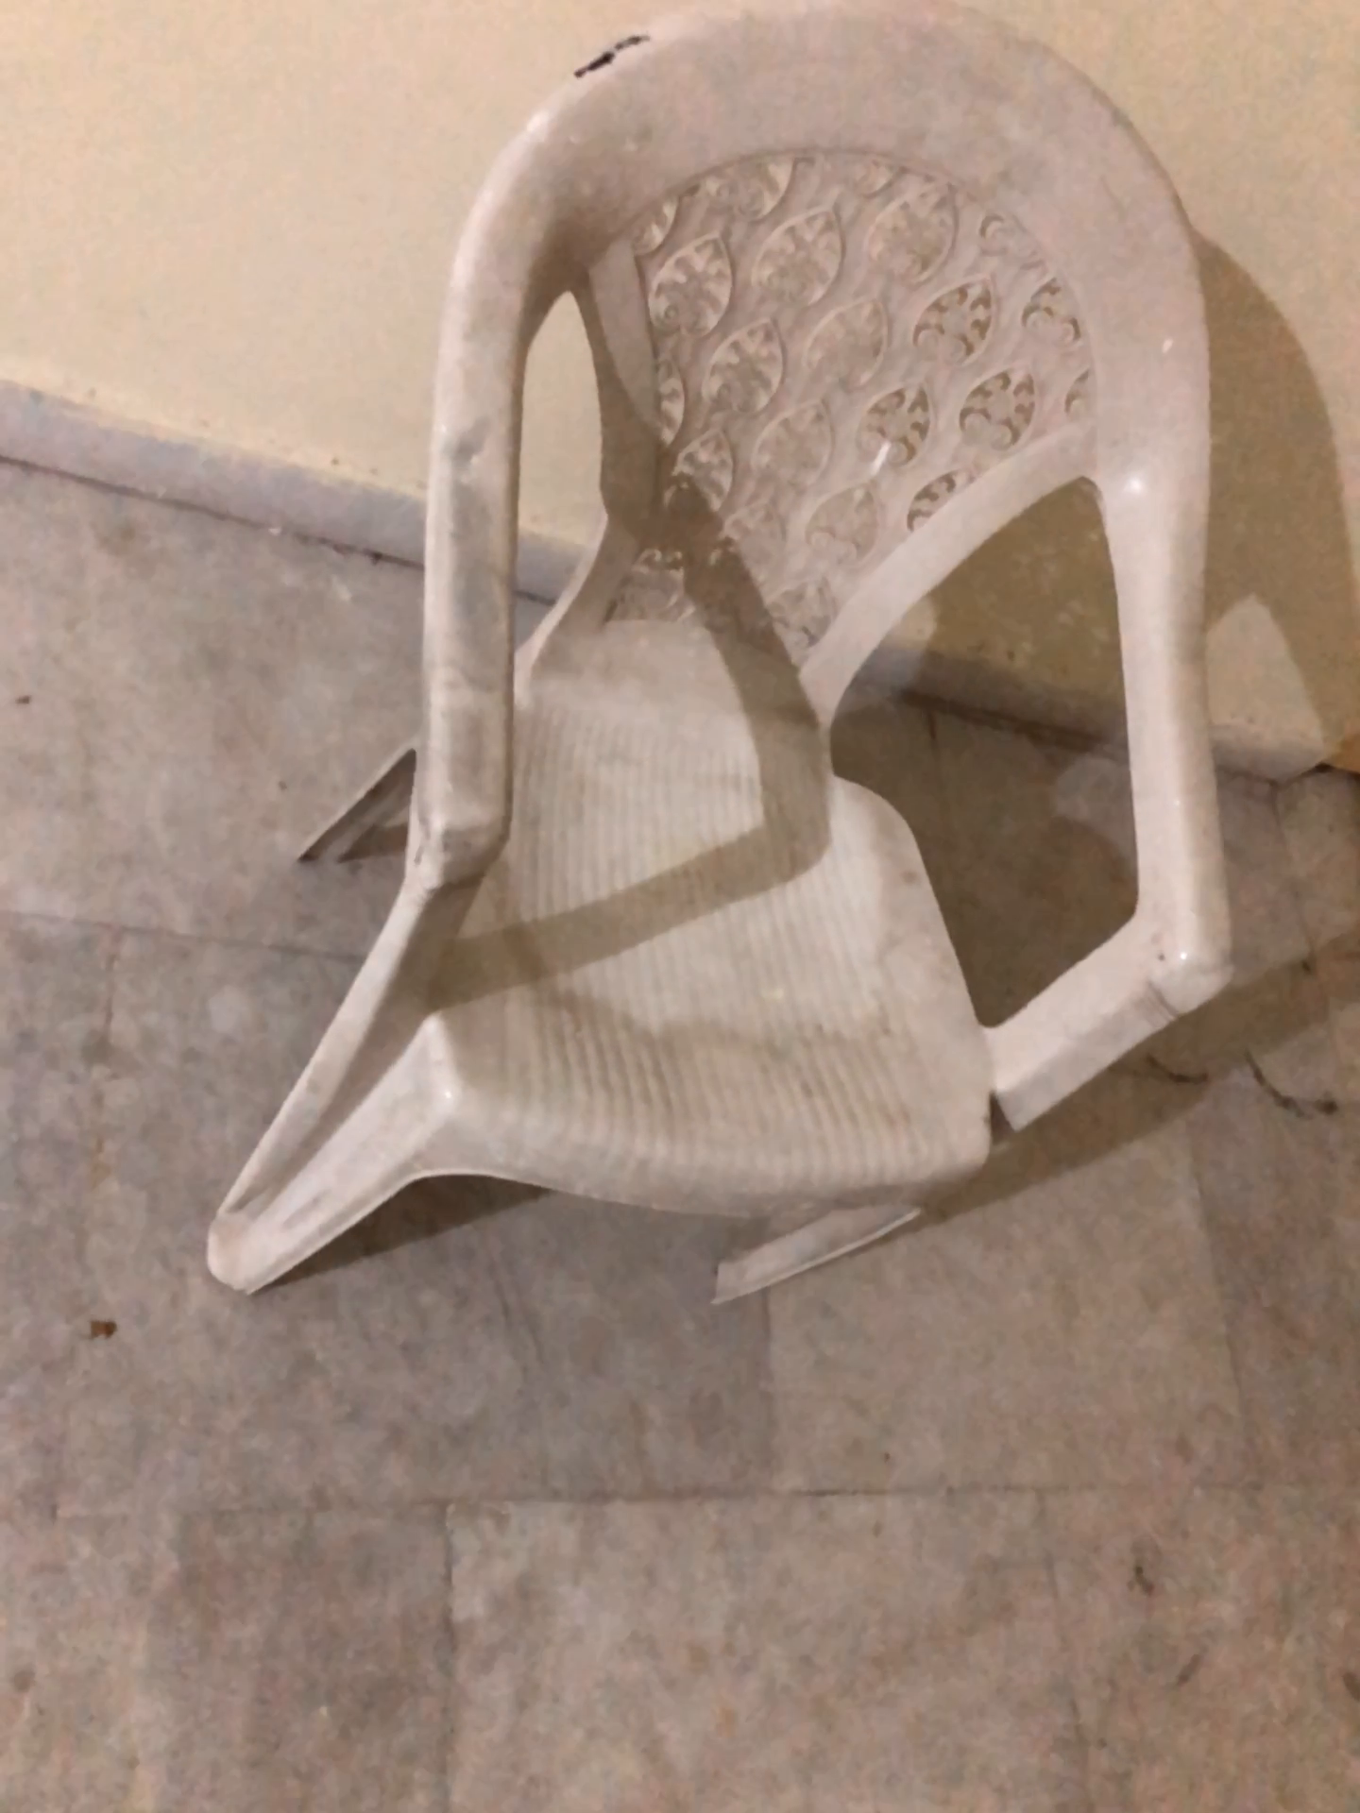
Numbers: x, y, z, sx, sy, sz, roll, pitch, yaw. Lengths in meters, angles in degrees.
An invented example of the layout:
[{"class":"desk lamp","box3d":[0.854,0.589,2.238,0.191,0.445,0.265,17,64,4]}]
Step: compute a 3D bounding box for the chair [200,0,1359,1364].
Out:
[{"class":"chair","box3d":[0.065,-0.038,1.001,0.532,0.834,0.512,10,61,-26]}]
